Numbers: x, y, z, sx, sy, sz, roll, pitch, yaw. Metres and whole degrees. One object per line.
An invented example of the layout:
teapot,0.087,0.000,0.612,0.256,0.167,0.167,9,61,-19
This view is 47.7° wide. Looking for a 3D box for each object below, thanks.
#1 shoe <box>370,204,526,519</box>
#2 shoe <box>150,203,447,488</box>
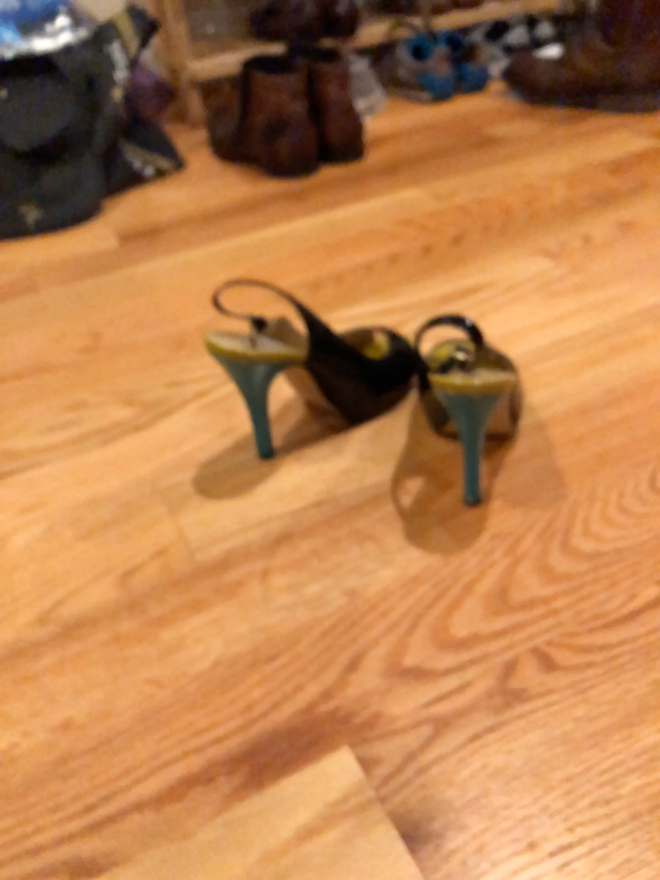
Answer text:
shoe,0.086,-0.063,0.528,0.085,0.131,0.202,1,38,11
shoe,-0.012,-0.079,0.565,0.204,0.121,0.085,-32,44,-29
